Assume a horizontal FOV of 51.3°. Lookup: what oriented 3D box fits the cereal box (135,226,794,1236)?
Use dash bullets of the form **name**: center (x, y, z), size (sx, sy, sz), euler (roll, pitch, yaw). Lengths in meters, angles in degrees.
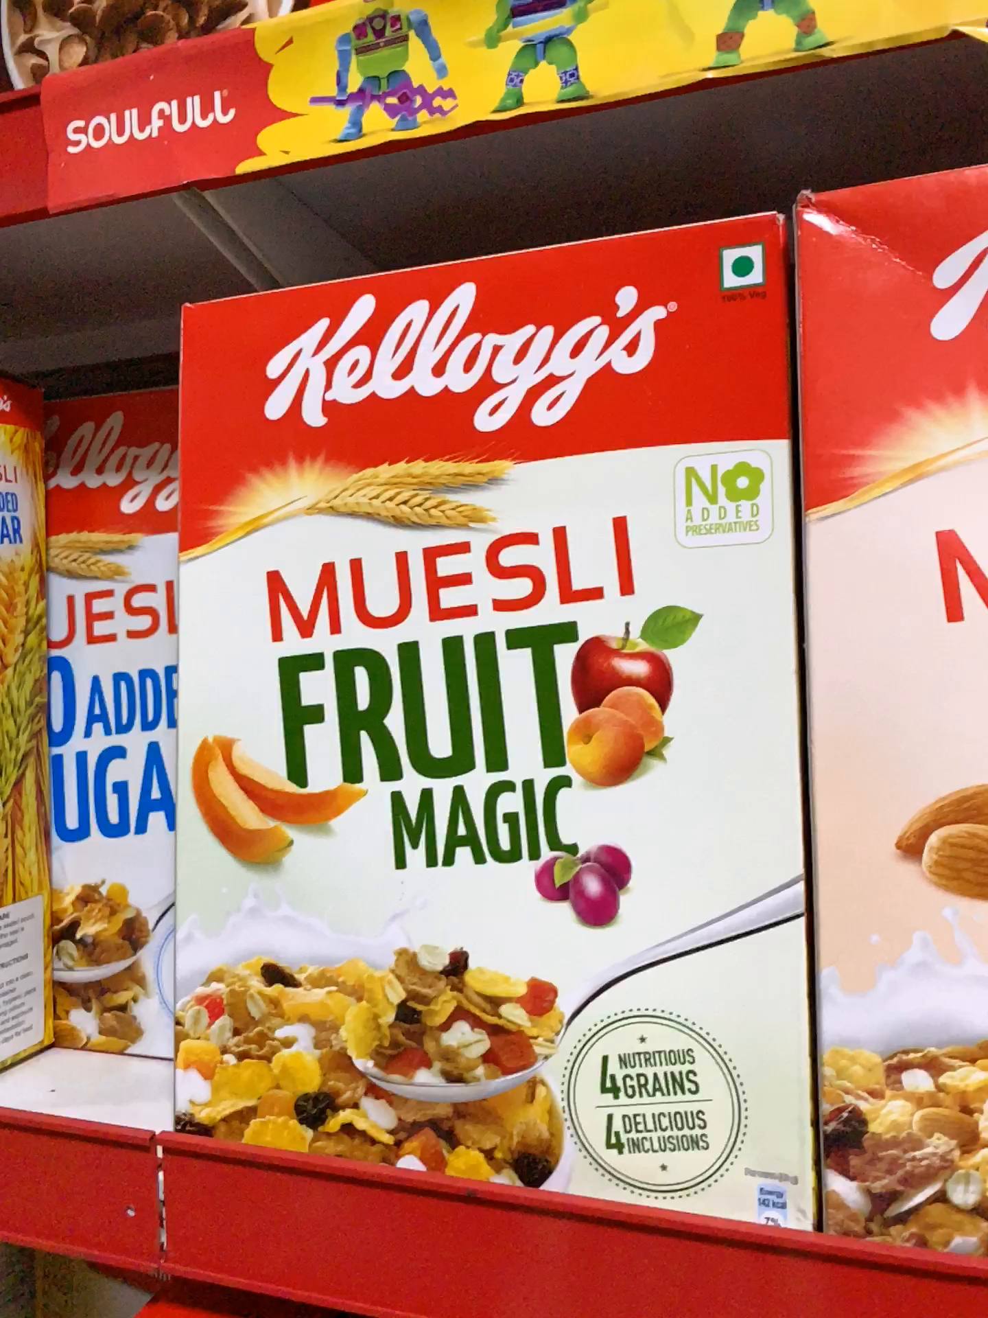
- **cereal box**: center (-0.010, 0.017, 0.302), size (0.180, 0.240, 0.060), euler (-1, -2, 18)
